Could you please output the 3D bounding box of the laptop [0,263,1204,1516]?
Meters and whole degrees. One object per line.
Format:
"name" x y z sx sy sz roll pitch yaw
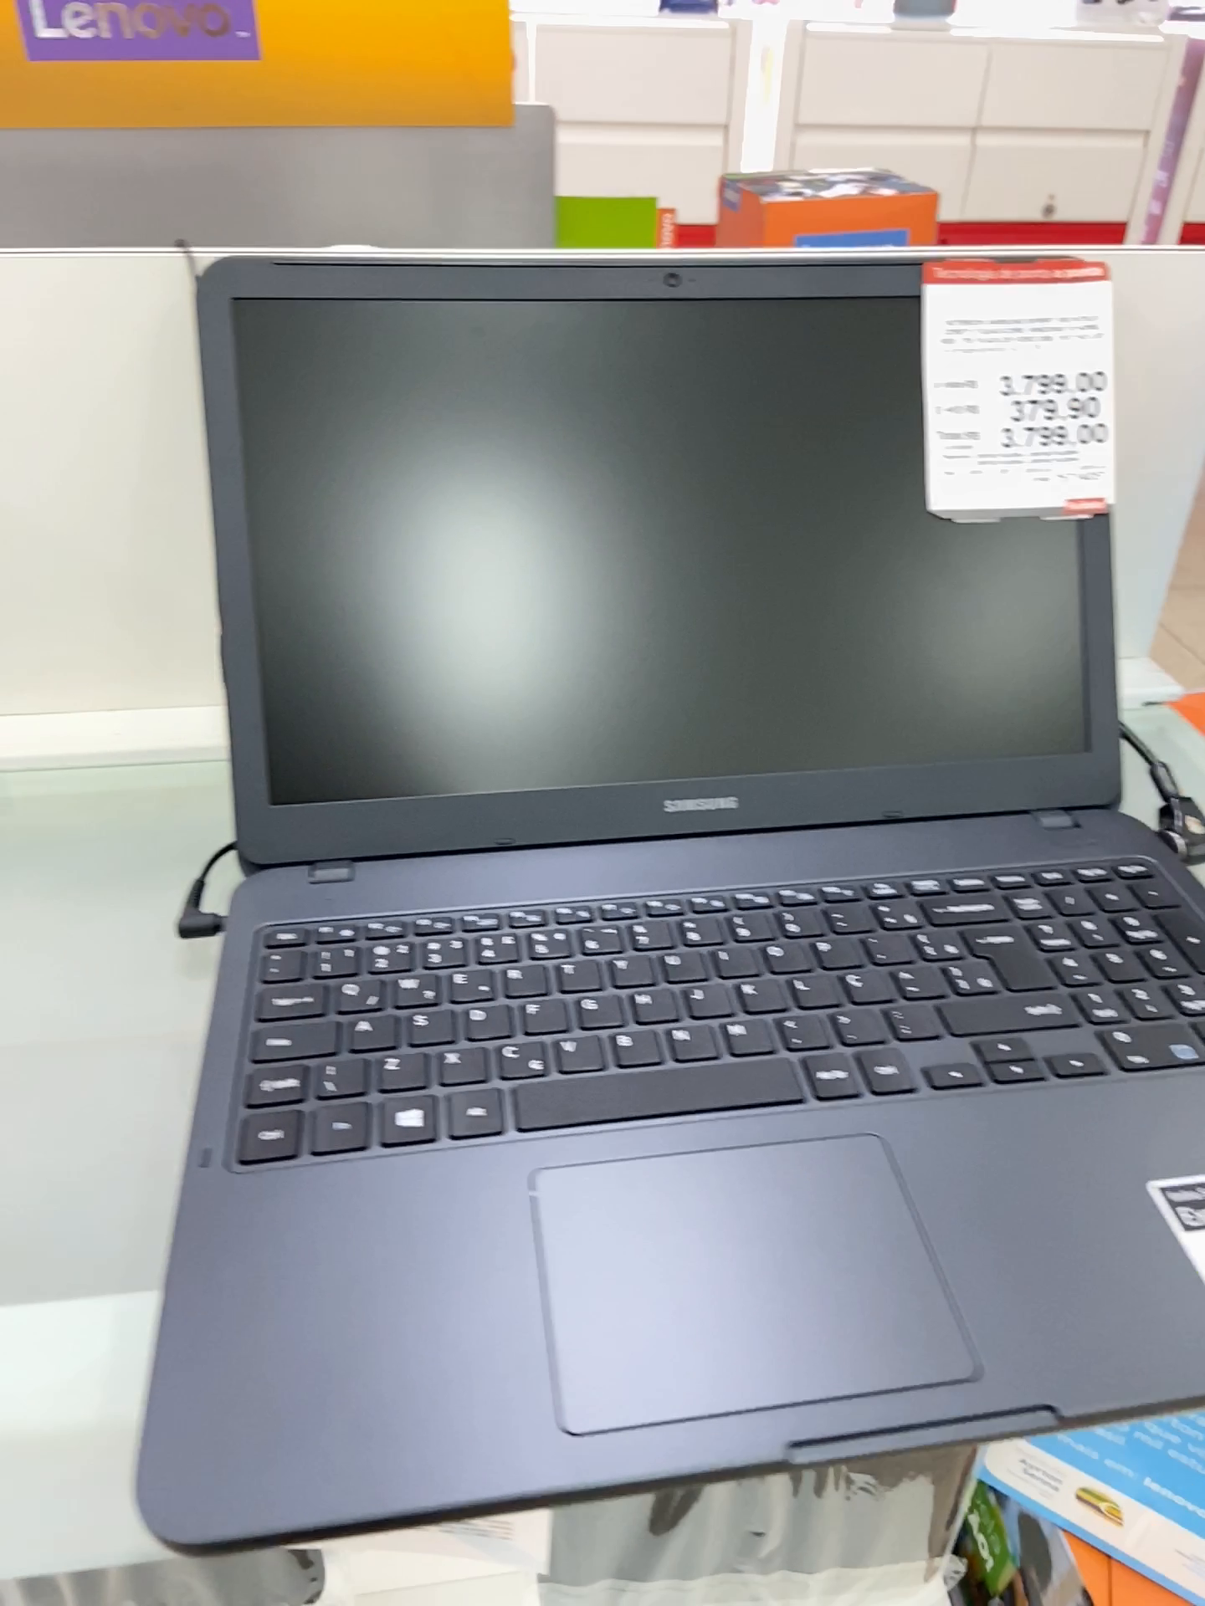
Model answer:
"laptop" 0.055 -0.034 0.402 0.371 0.192 0.371 -4 34 -7
